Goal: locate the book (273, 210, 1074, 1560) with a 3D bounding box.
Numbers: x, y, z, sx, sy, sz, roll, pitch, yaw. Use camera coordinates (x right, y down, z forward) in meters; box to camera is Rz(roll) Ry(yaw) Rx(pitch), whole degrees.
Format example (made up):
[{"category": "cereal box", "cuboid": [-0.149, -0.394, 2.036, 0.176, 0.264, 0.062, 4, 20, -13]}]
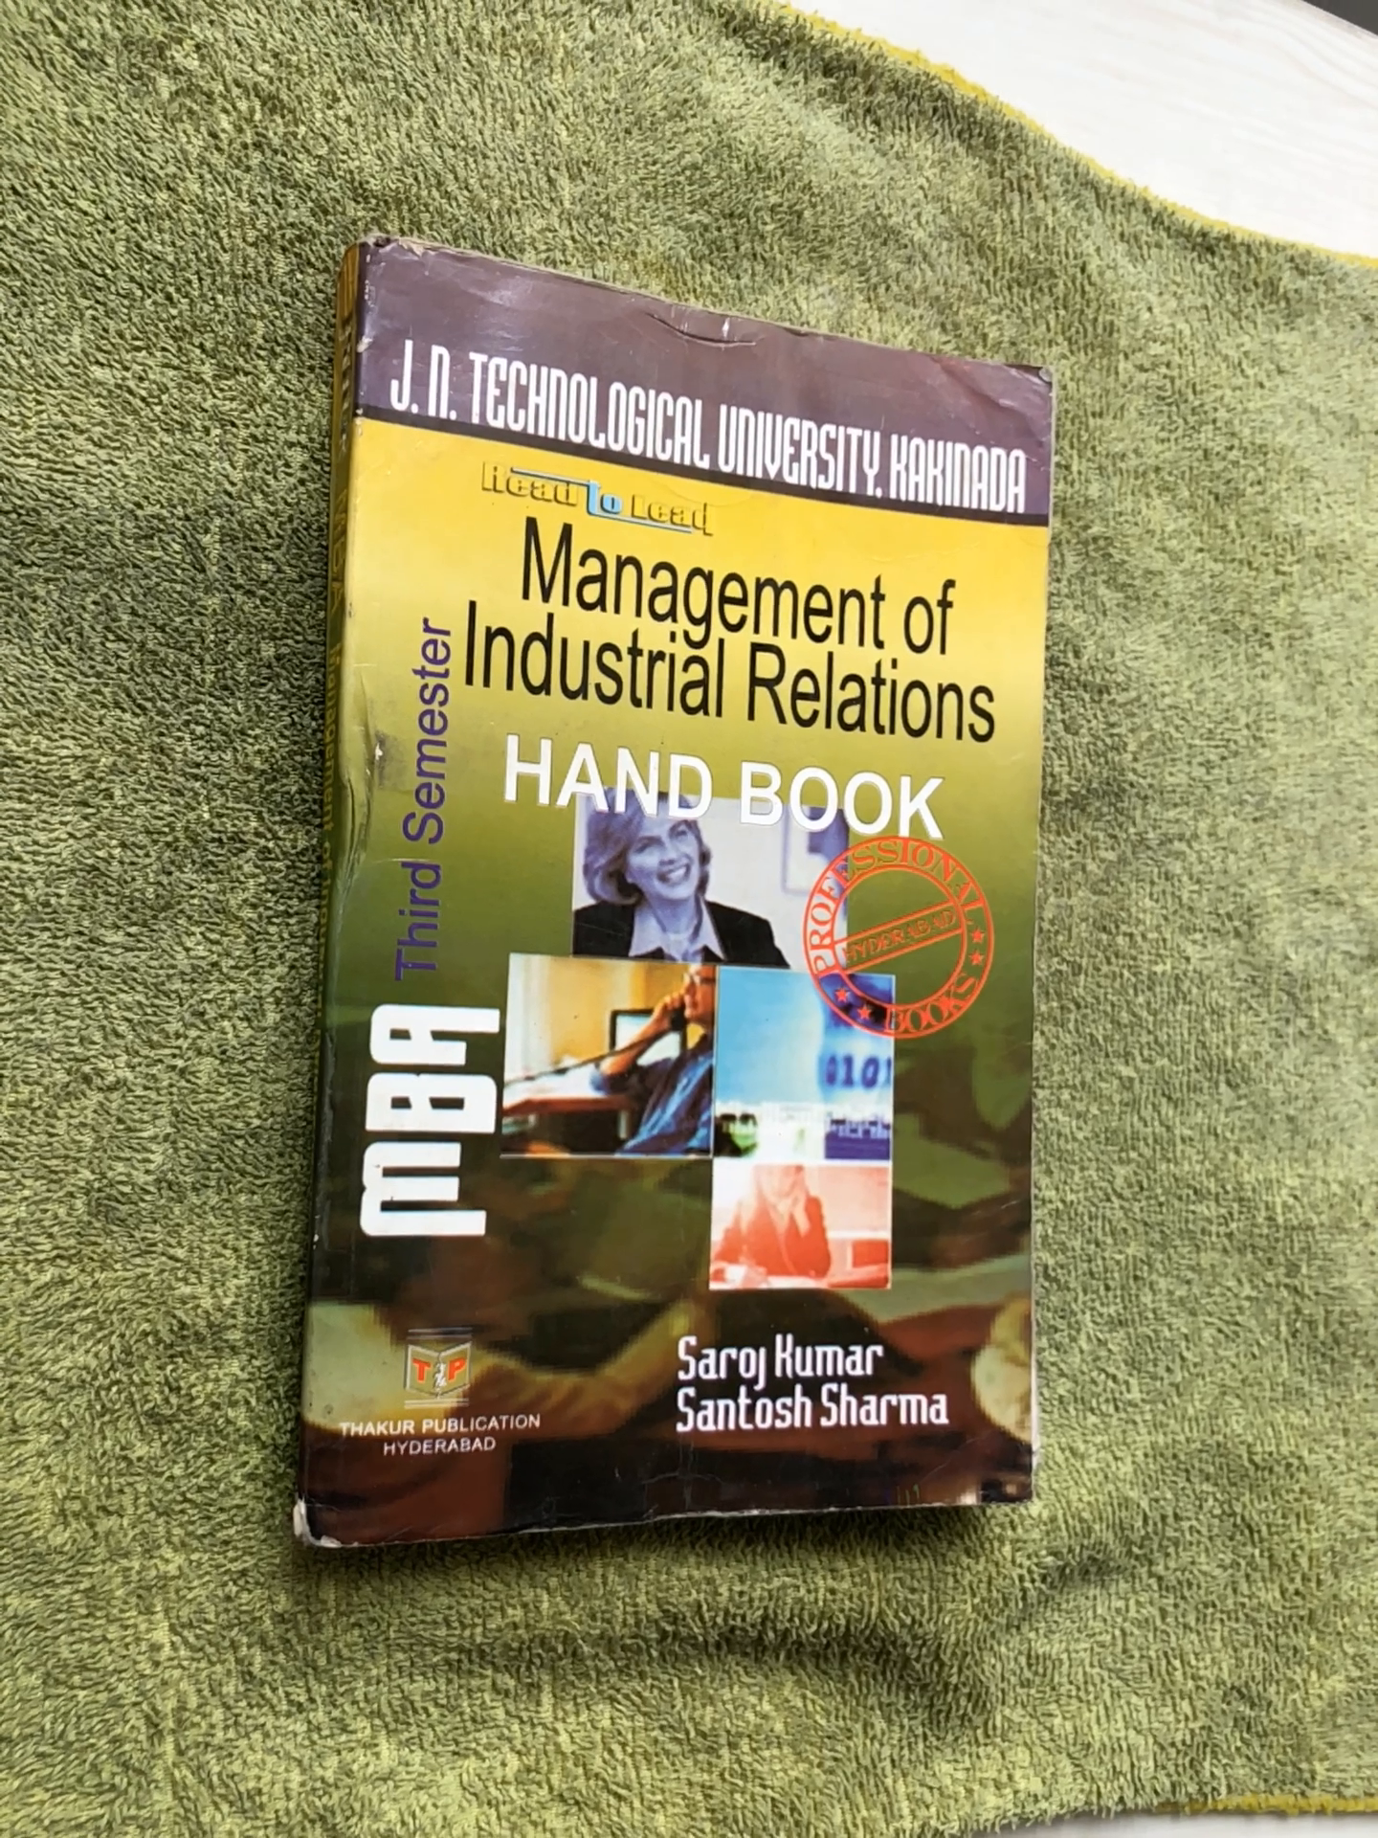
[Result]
[{"category": "book", "cuboid": [0.001, -0.003, 0.300, 0.140, 0.050, 0.220, 4, 85, -23]}]
